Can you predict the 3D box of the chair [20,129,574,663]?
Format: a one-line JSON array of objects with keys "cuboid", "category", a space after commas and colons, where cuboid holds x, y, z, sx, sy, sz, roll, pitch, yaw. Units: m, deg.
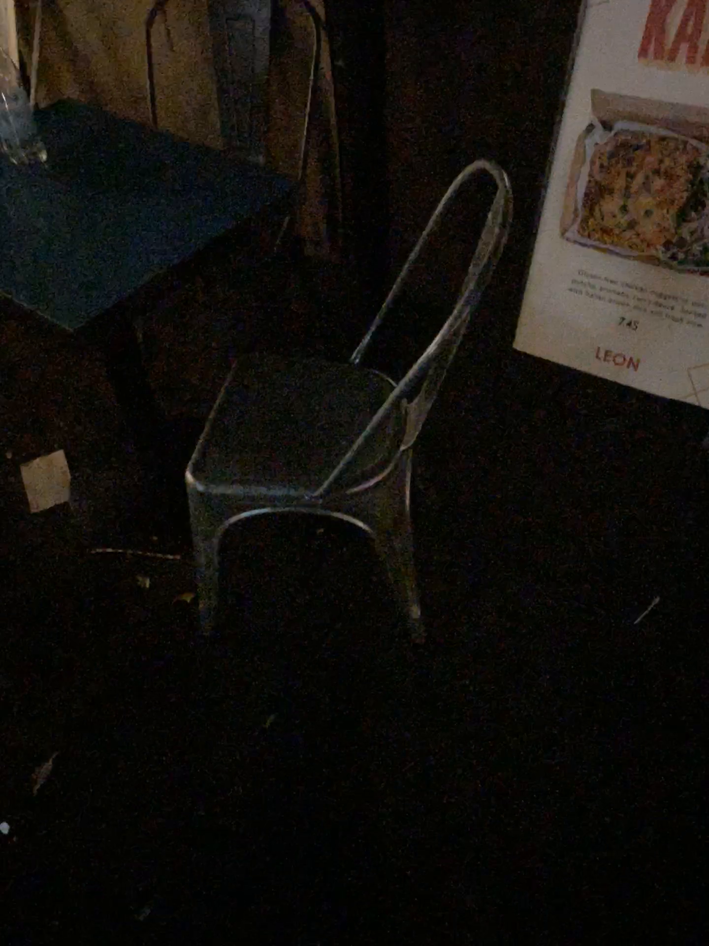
[{"cuboid": [-0.040, -0.098, 1.206, 0.600, 0.723, 0.505, 1, 47, 4], "category": "chair"}]
